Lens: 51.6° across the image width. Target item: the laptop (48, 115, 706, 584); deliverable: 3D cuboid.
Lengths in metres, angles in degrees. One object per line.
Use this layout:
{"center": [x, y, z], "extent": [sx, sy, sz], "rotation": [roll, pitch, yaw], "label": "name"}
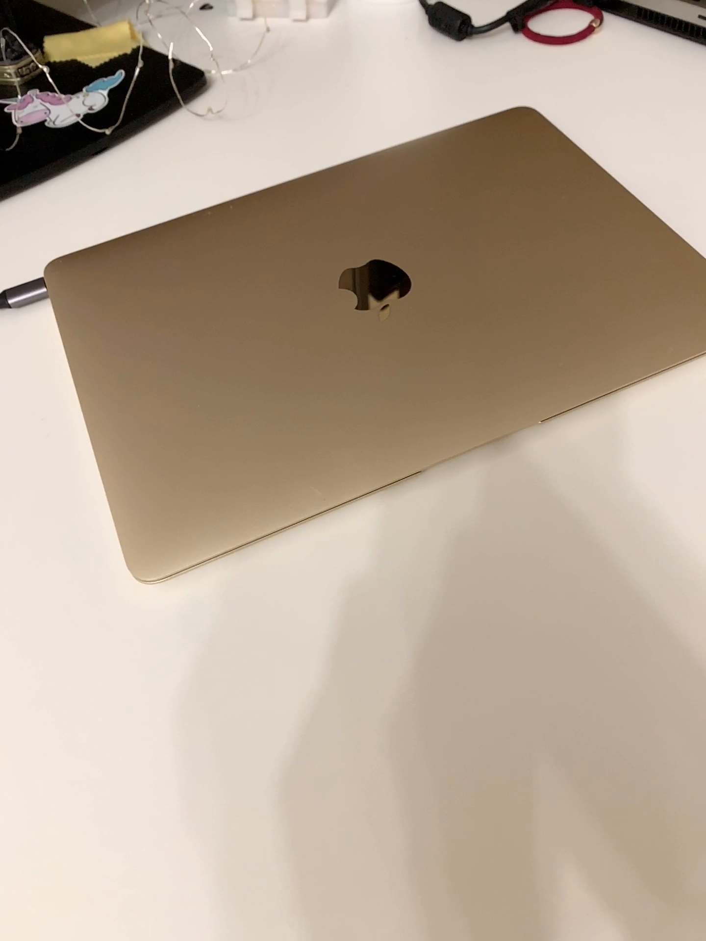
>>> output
{"center": [0.009, -0.075, 0.323], "extent": [0.255, 0.009, 0.175], "rotation": [-22, 57, -11], "label": "laptop"}
